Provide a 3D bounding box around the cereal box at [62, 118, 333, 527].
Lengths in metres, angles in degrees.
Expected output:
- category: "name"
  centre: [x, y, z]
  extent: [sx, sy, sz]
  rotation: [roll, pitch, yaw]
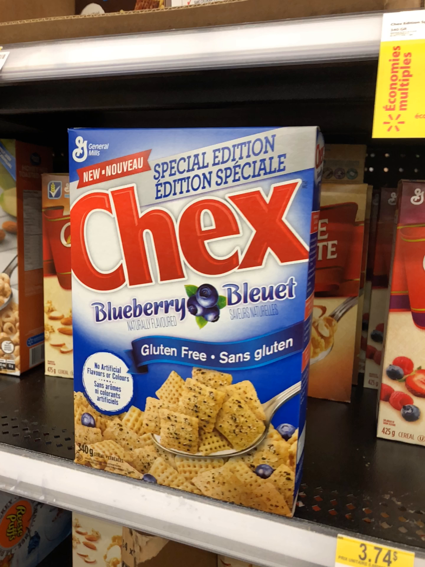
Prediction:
- category: "cereal box"
  centre: [-0.018, 0.023, 0.385]
  extent: [0.200, 0.289, 0.060]
  rotation: [5, 10, 20]
